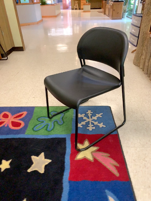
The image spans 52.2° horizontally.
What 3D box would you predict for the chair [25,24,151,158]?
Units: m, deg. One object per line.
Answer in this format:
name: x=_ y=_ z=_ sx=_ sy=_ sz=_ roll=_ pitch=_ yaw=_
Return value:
chair: x=0.081 y=-0.146 z=1.227 sx=0.631 sy=0.735 sz=0.613 roll=-21 pitch=37 yaw=-27
